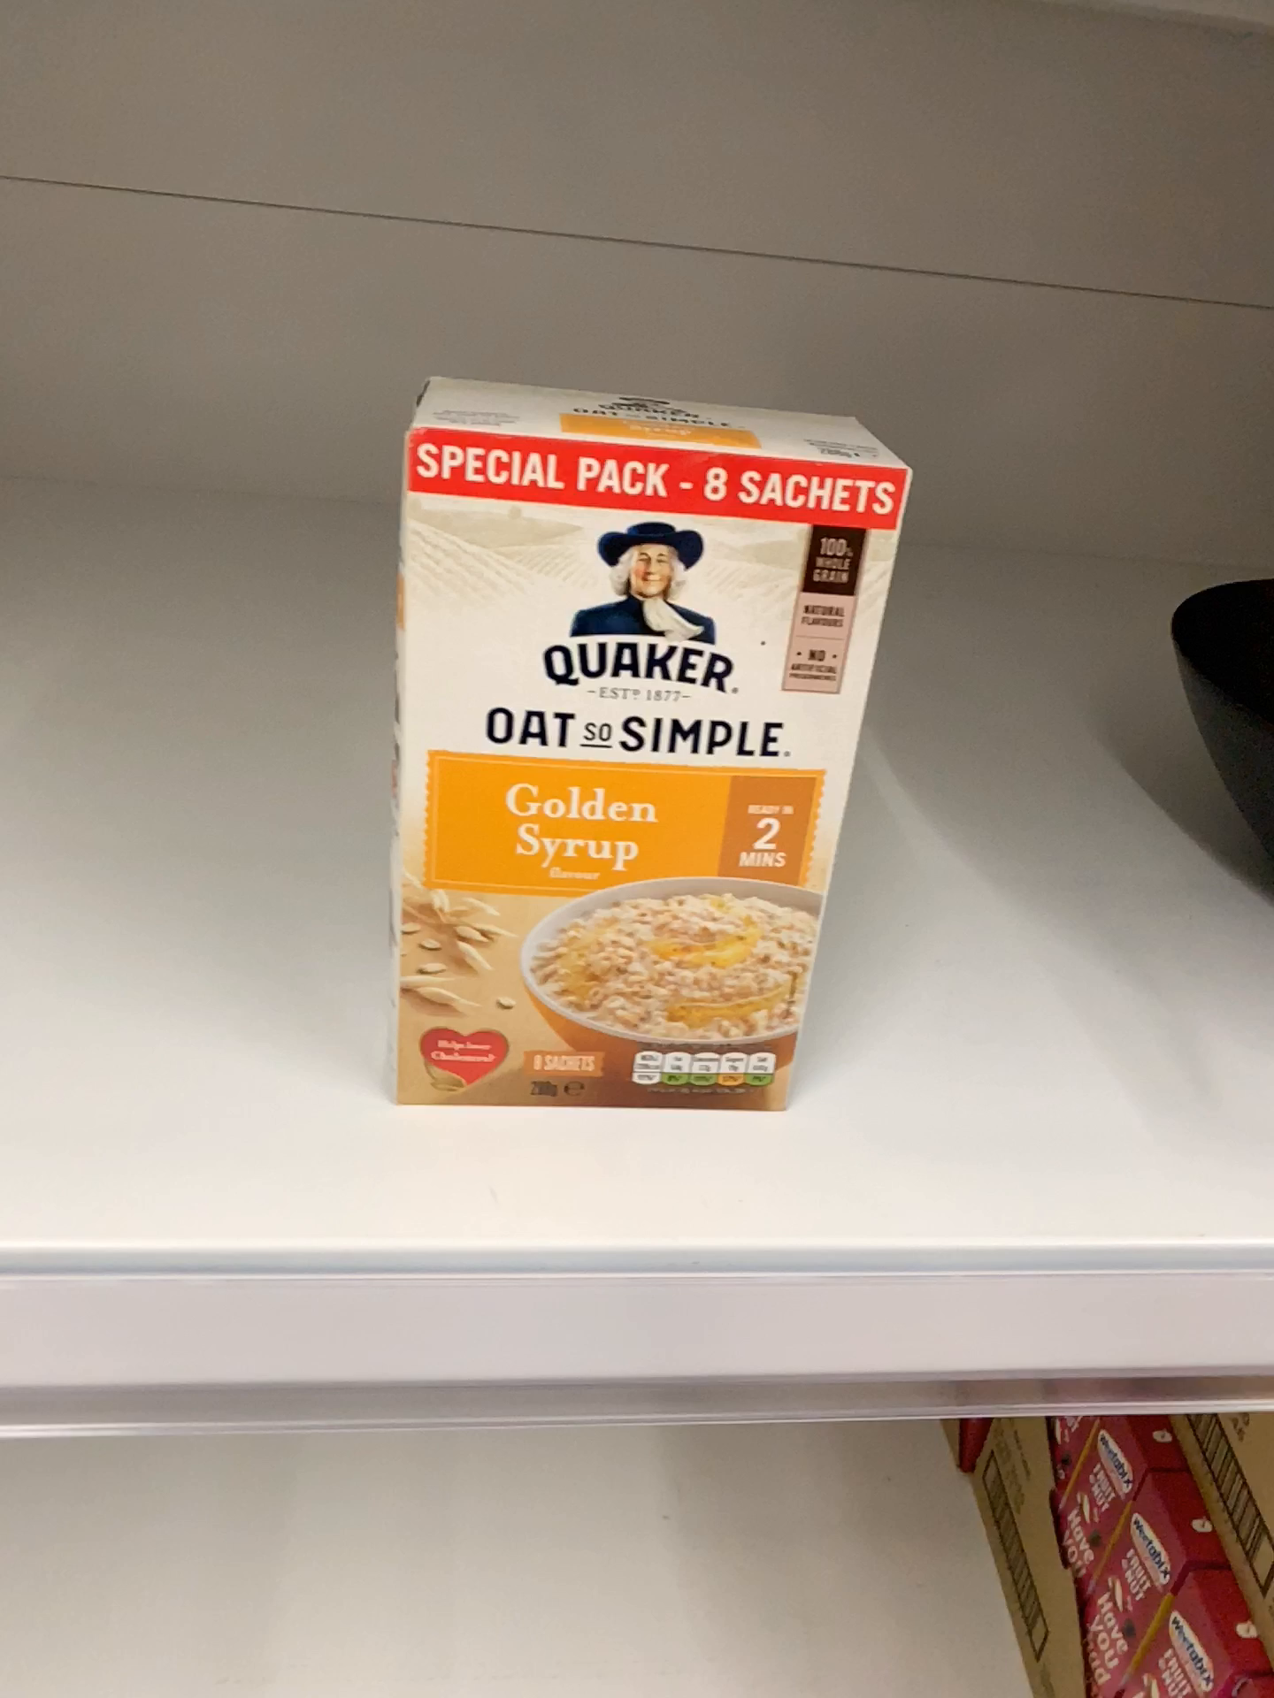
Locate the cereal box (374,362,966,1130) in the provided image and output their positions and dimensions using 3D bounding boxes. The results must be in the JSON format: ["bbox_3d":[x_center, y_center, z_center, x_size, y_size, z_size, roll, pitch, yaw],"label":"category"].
[{"bbox_3d":[-0.003,-0.023,0.388,0.140,0.208,0.071,2,27,-8],"label":"cereal box"}]
